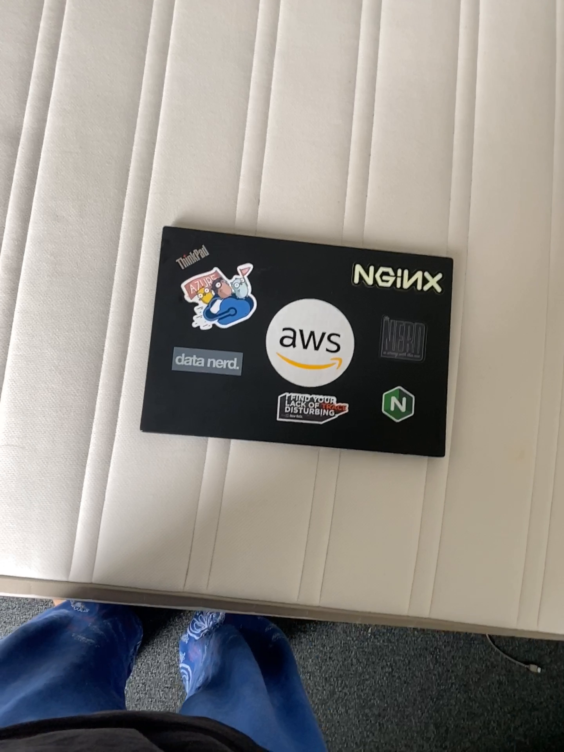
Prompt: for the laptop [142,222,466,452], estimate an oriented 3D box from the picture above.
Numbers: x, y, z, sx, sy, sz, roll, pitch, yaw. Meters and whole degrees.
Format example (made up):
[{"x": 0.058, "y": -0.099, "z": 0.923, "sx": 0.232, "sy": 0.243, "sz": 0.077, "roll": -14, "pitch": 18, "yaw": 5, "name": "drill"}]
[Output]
[{"x": 0.031, "y": -0.043, "z": 0.616, "sx": 0.322, "sy": 0.014, "sz": 0.224, "roll": 5, "pitch": 79, "yaw": -3, "name": "laptop"}]
